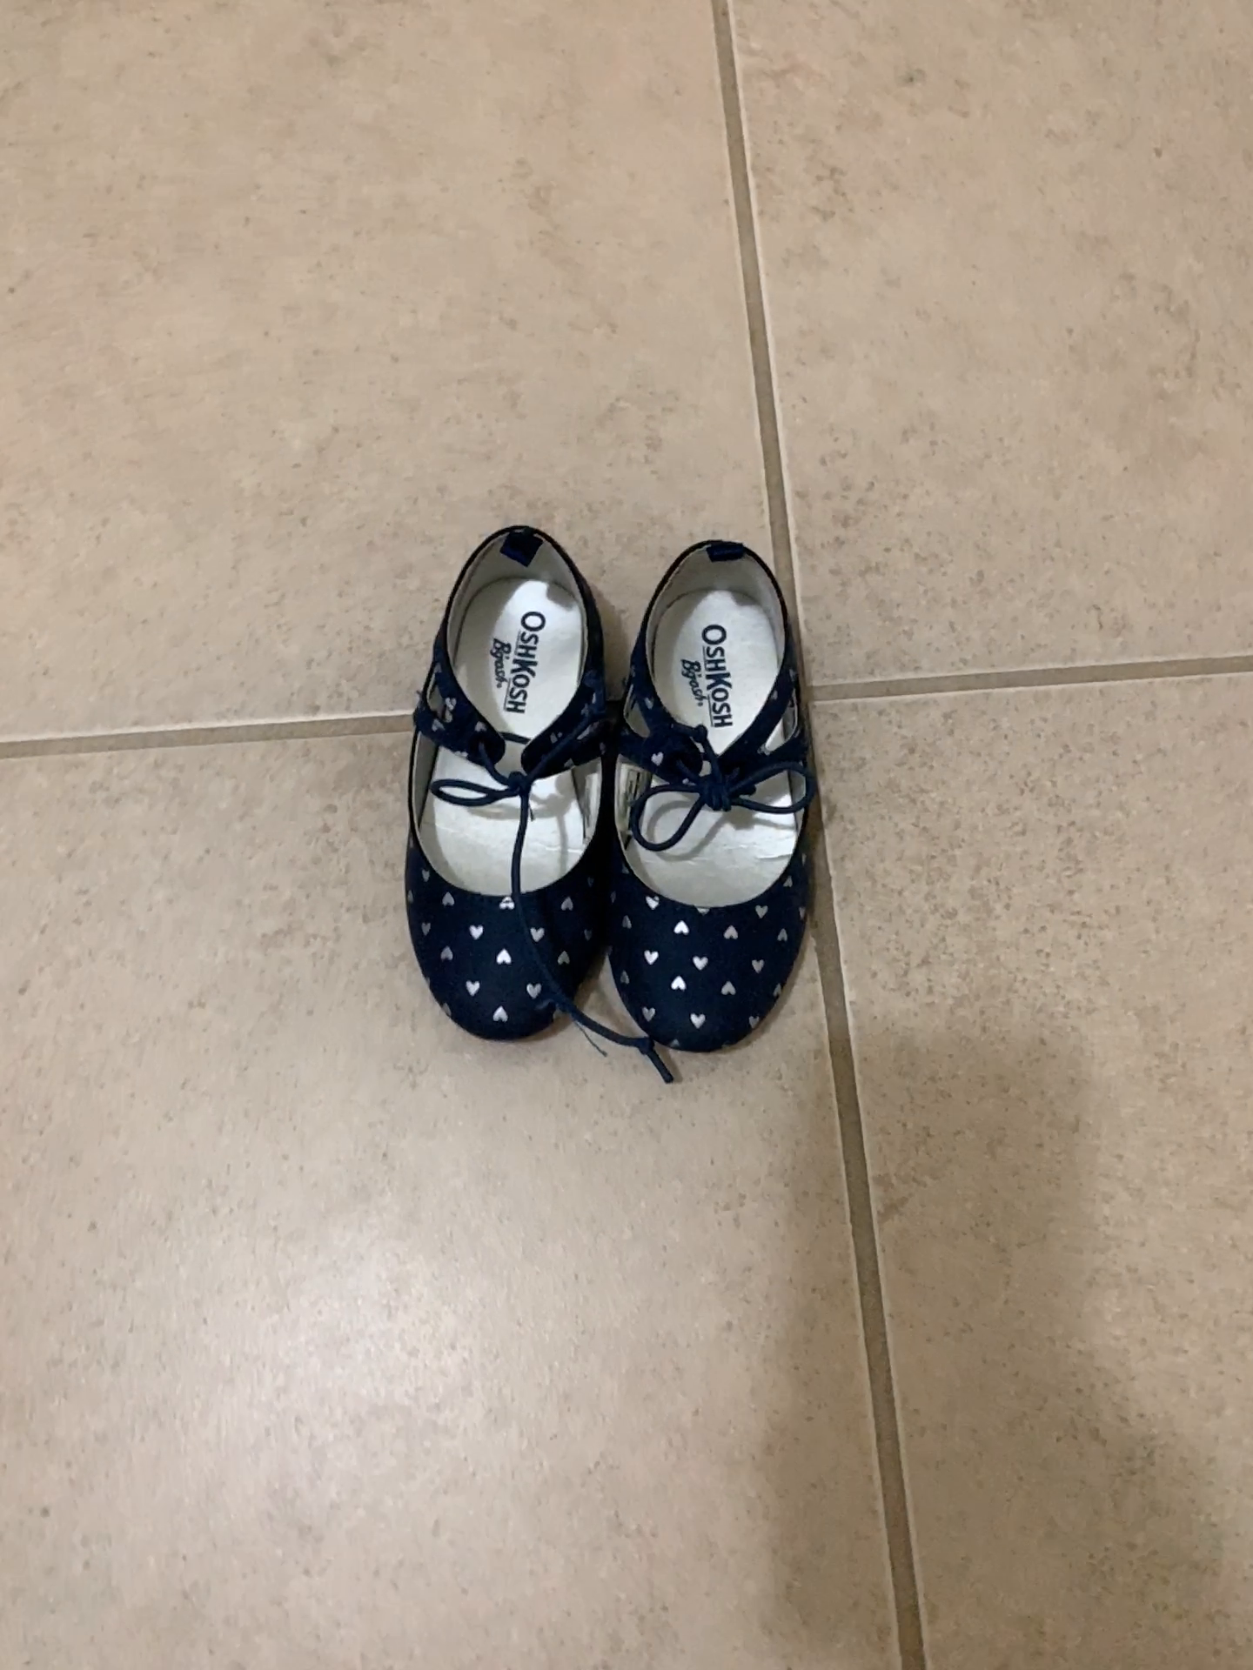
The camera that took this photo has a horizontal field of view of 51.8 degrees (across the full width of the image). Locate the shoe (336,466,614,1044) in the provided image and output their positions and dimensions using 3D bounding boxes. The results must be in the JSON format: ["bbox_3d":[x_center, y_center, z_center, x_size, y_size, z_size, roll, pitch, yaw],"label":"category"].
[{"bbox_3d":[-0.042,-0.025,0.407,0.070,0.062,0.171,1,72,1],"label":"shoe"}]

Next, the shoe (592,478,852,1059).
[{"bbox_3d":[0.028,-0.020,0.405,0.070,0.062,0.171,1,72,1],"label":"shoe"}]
